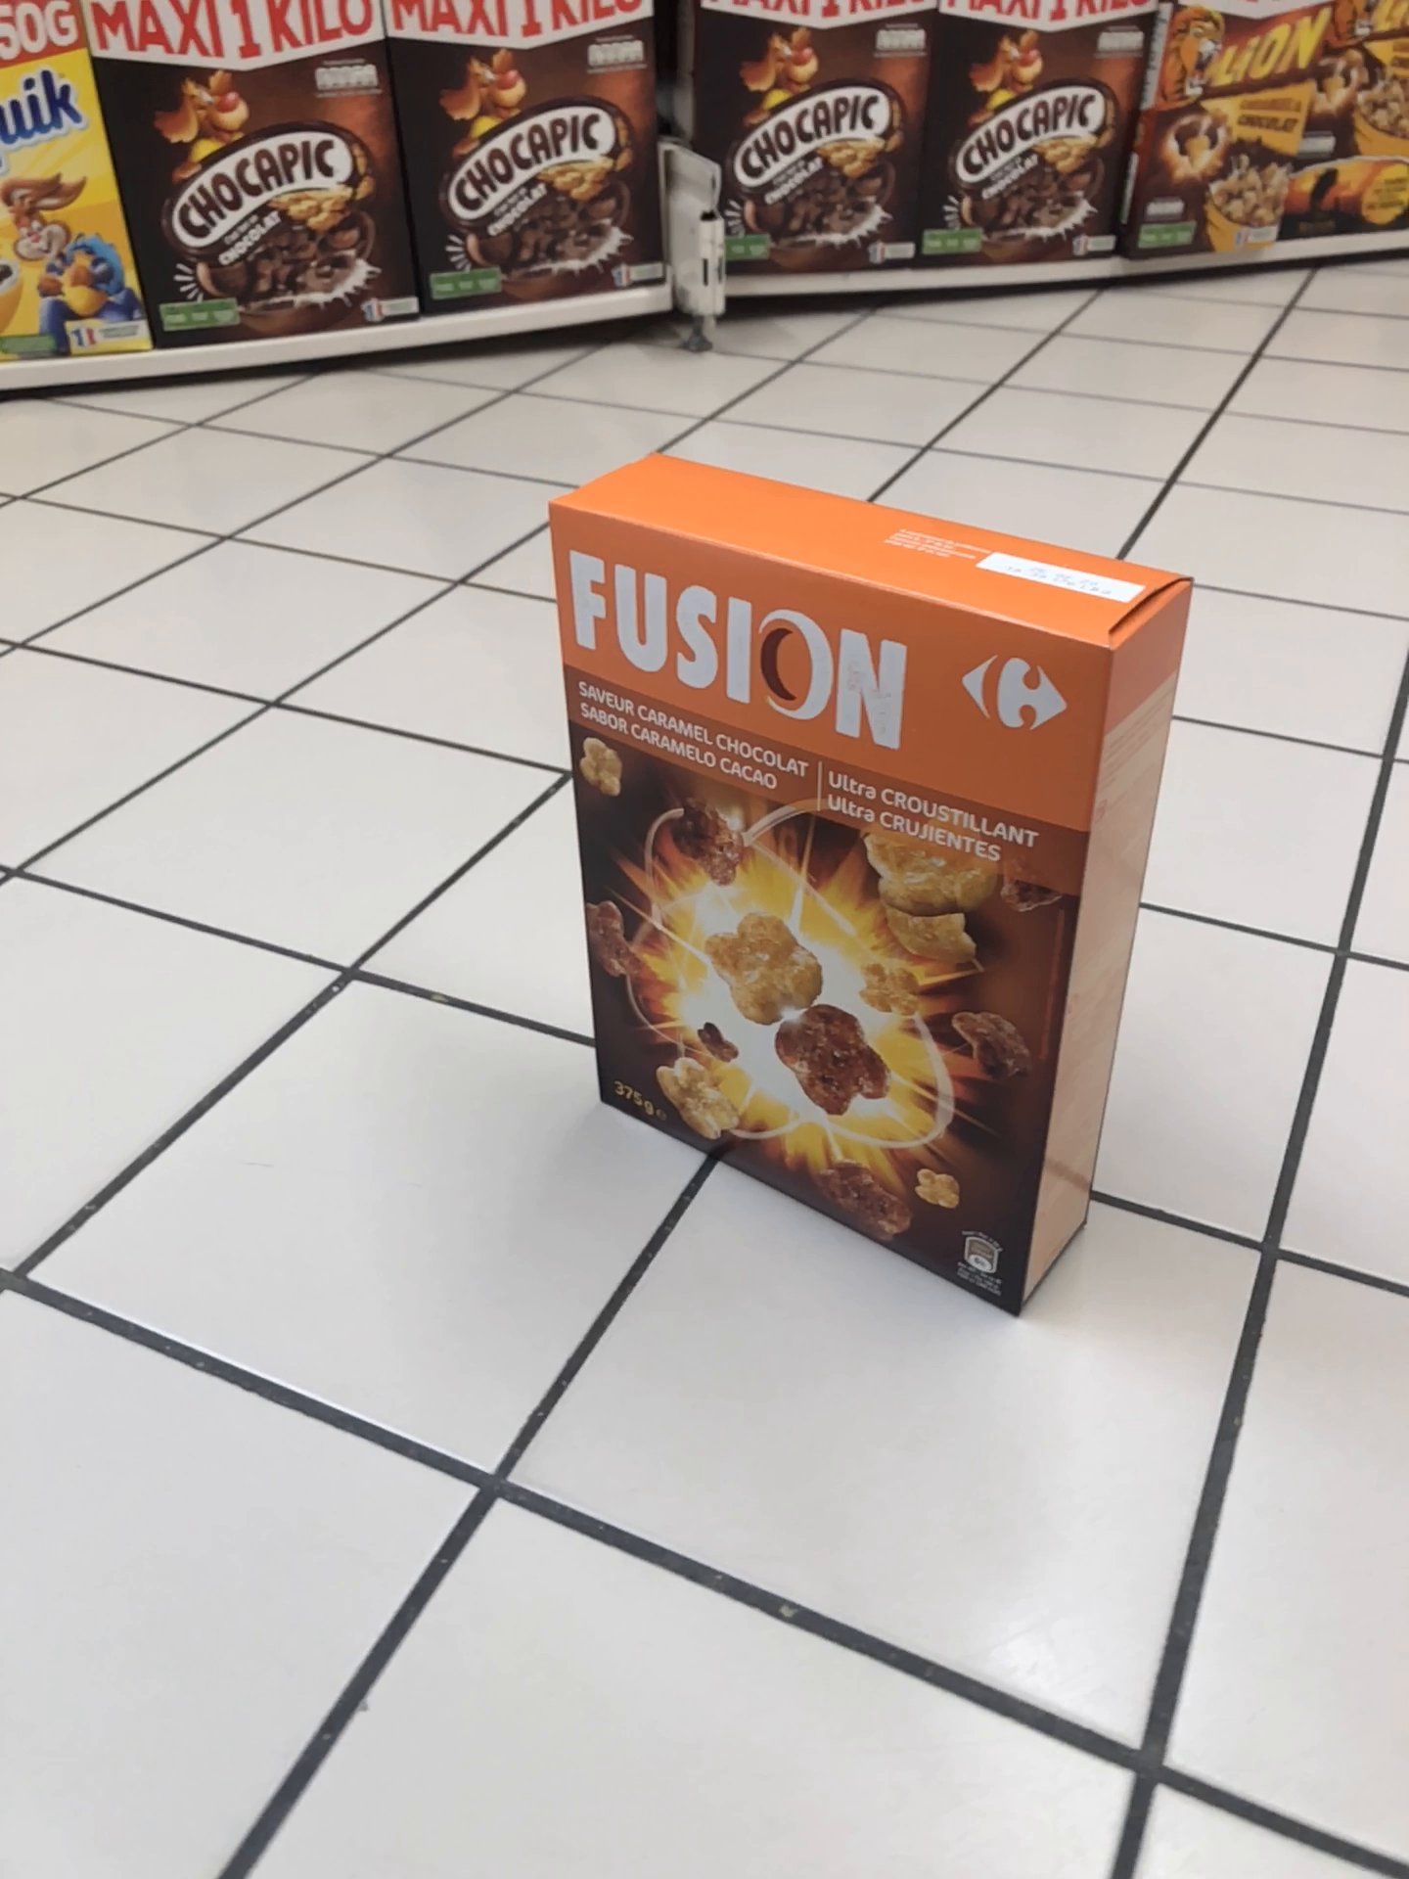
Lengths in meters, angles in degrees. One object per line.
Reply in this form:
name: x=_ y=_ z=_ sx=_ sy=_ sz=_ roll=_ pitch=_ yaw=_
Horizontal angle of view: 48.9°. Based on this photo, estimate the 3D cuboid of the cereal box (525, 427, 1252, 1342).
cereal box: x=0.050 y=-0.019 z=0.515 sx=0.200 sy=0.249 sz=0.070 roll=23 pitch=42 yaw=31
